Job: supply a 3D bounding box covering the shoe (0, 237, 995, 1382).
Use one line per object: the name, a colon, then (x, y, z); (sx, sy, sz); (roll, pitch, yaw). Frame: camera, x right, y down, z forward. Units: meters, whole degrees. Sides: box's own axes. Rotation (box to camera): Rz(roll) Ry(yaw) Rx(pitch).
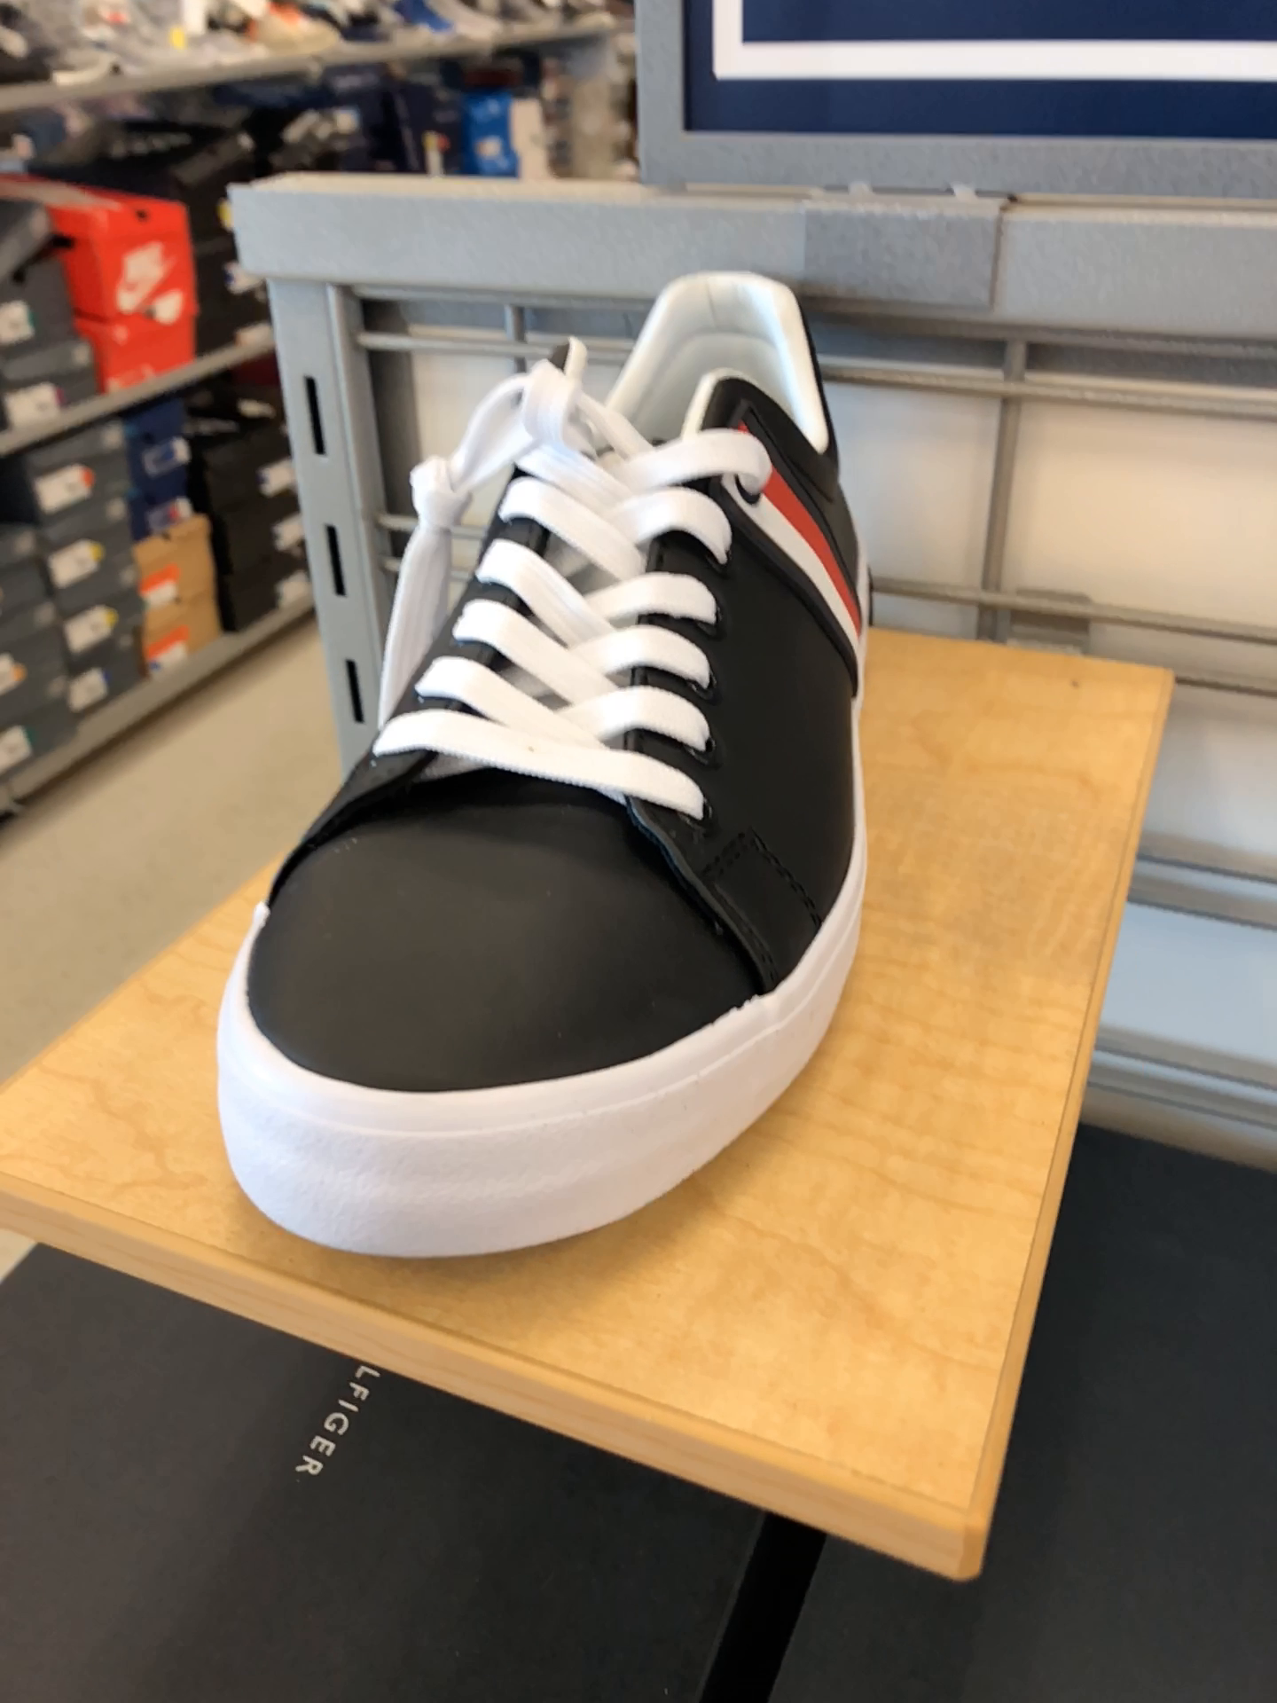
shoe: (0.008, -0.052, 0.287); (0.100, 0.089, 0.292); (8, 33, 13)
